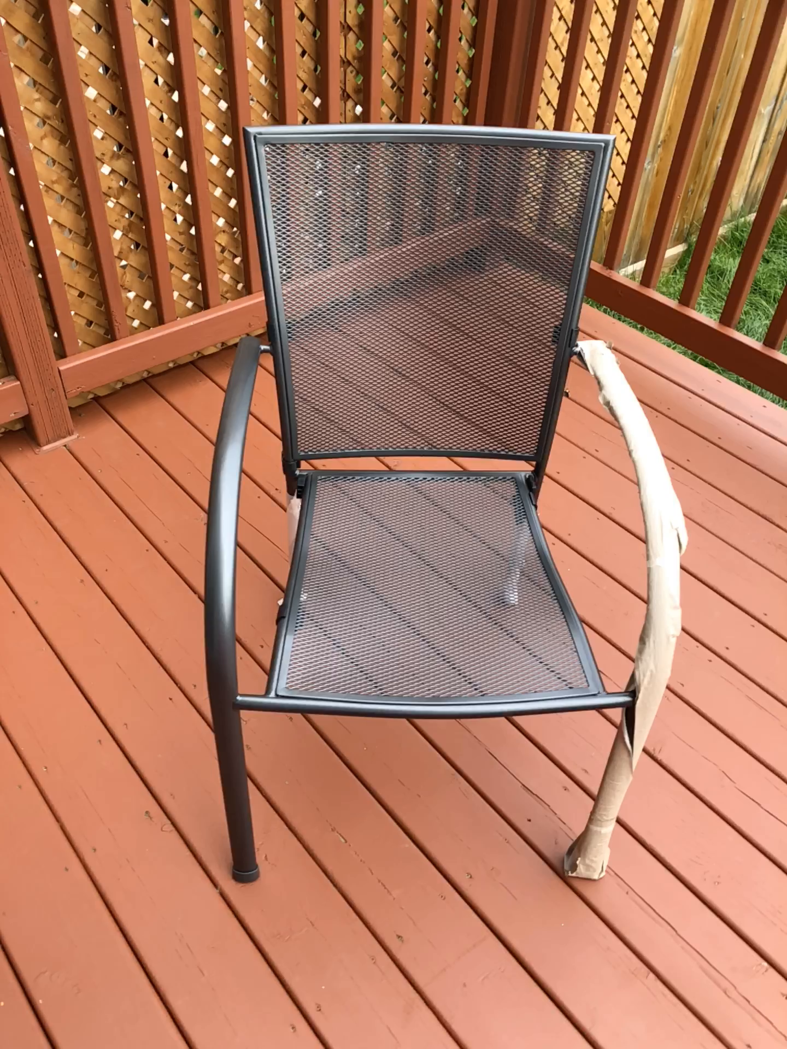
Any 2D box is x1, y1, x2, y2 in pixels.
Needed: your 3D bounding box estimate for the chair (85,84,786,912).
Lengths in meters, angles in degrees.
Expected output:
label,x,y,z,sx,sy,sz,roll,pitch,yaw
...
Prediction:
label,x,y,z,sx,sy,sz,roll,pitch,yaw
chair,0.050,0.003,1.192,0.600,0.926,0.652,0,43,-3
